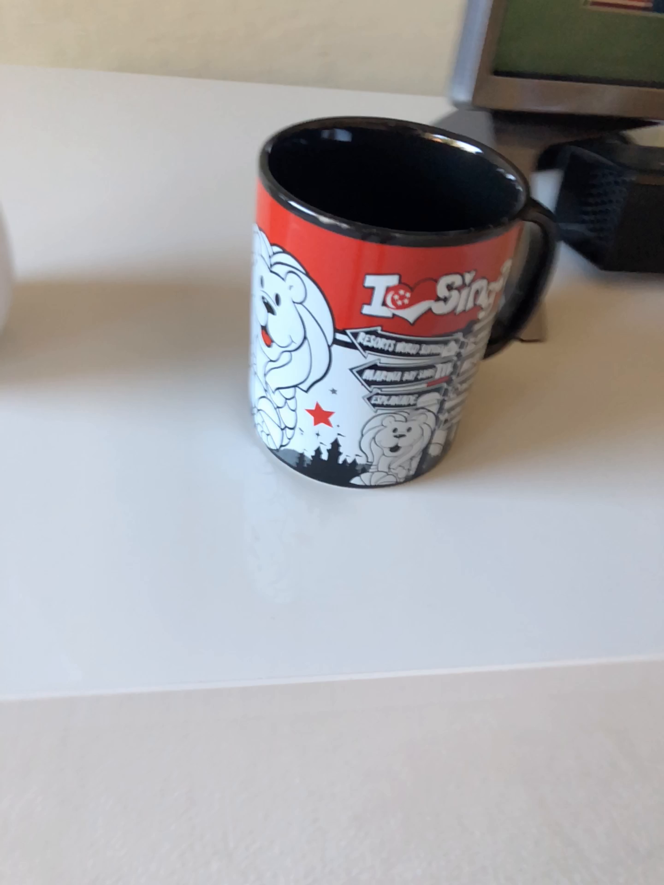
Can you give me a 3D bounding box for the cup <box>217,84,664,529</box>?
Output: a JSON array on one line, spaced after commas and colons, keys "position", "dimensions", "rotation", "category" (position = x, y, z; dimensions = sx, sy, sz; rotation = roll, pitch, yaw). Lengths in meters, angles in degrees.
[{"position": [0.031, -0.052, 0.262], "dimensions": [0.120, 0.109, 0.080], "rotation": [-17, 48, -25], "category": "cup"}]
